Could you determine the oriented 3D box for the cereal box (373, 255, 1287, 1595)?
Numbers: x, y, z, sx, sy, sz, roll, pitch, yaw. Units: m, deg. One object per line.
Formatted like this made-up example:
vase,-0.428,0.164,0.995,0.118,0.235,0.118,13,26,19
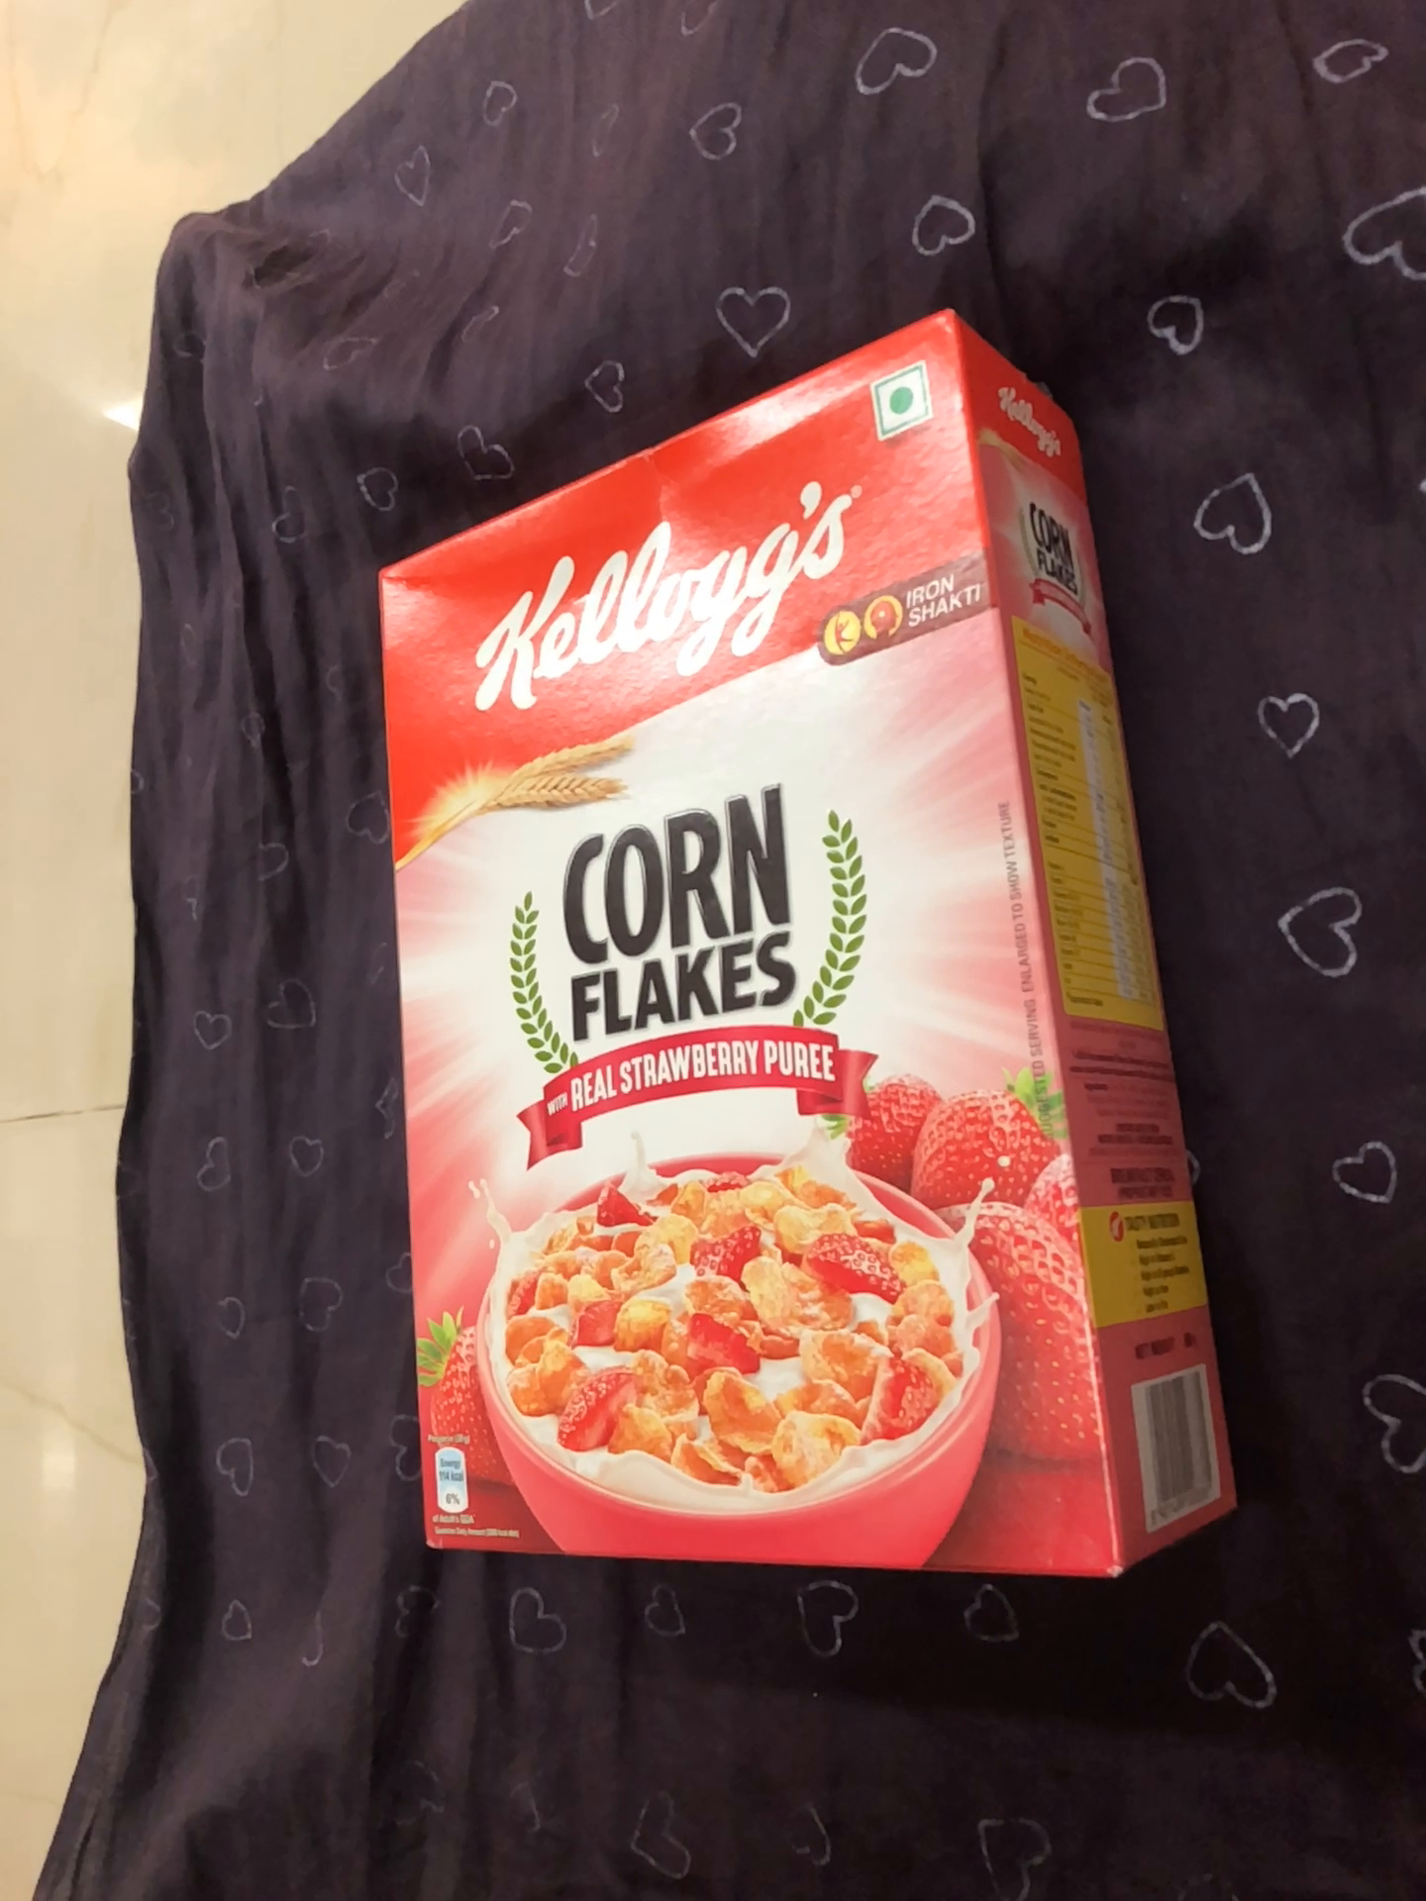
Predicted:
cereal box,0.014,0.005,0.390,0.191,0.070,0.270,-13,77,34
